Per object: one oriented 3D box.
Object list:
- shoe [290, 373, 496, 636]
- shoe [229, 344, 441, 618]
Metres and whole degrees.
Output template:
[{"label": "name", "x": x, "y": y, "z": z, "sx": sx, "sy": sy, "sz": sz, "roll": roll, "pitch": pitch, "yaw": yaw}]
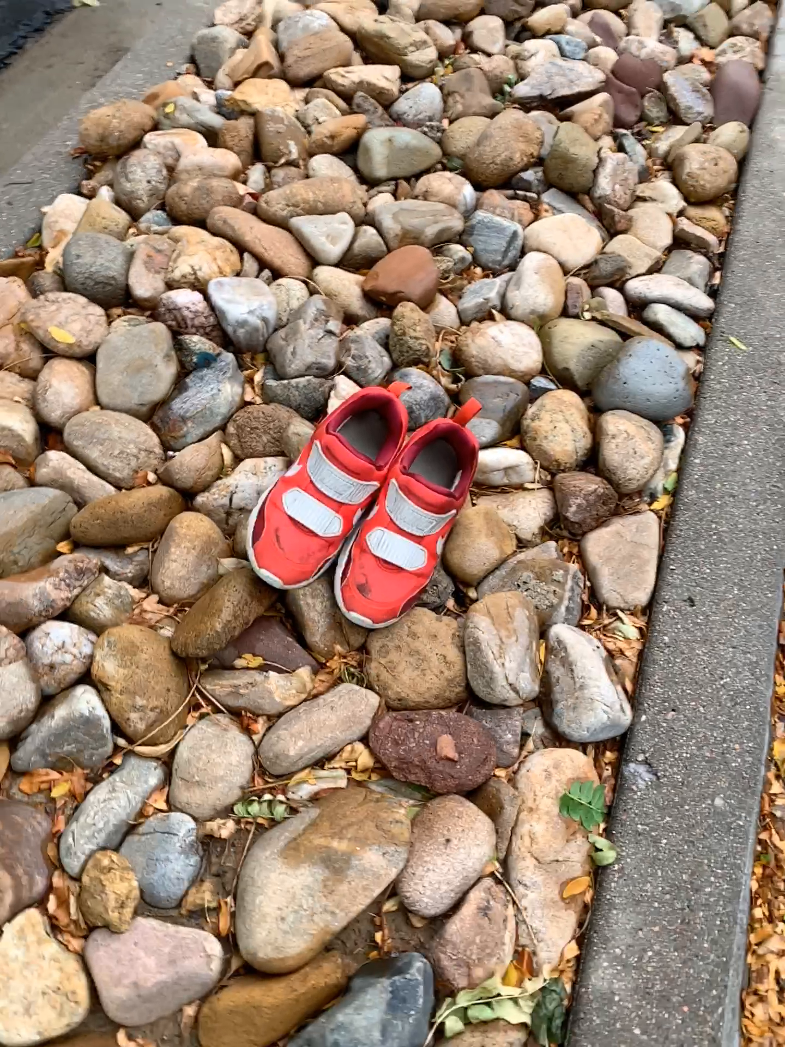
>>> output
[{"label": "shoe", "x": -0.001, "y": -0.012, "z": 0.718, "sx": 0.080, "sy": 0.100, "sz": 0.210, "roll": 30, "pitch": 79, "yaw": 1}, {"label": "shoe", "x": -0.050, "y": -0.035, "z": 0.707, "sx": 0.080, "sy": 0.100, "sz": 0.210, "roll": 30, "pitch": 73, "yaw": 1}]
